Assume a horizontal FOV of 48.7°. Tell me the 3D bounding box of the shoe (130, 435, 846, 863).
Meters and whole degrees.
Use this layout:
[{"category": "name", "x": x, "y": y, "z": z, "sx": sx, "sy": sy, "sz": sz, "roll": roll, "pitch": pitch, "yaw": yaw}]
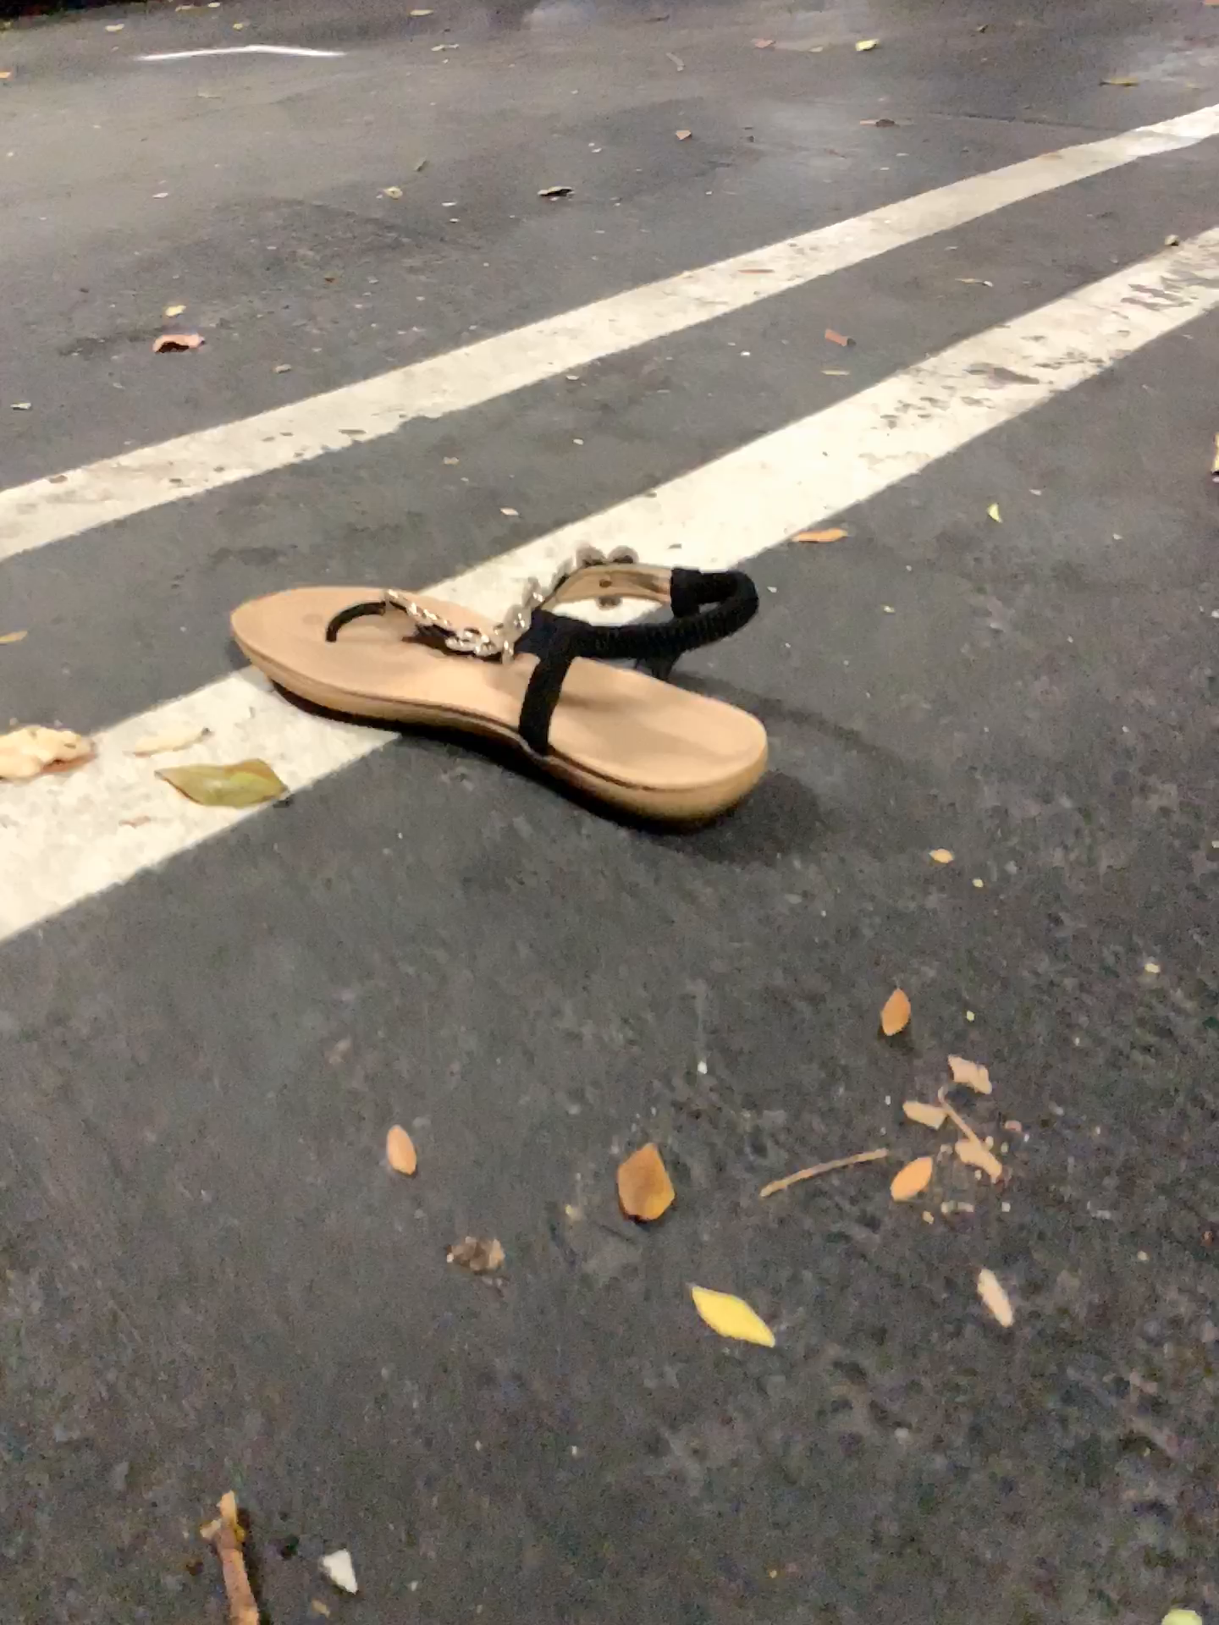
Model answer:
[{"category": "shoe", "x": -0.052, "y": -0.079, "z": 0.539, "sx": 0.260, "sy": 0.060, "sz": 0.120, "roll": 21, "pitch": 44, "yaw": 29}]
